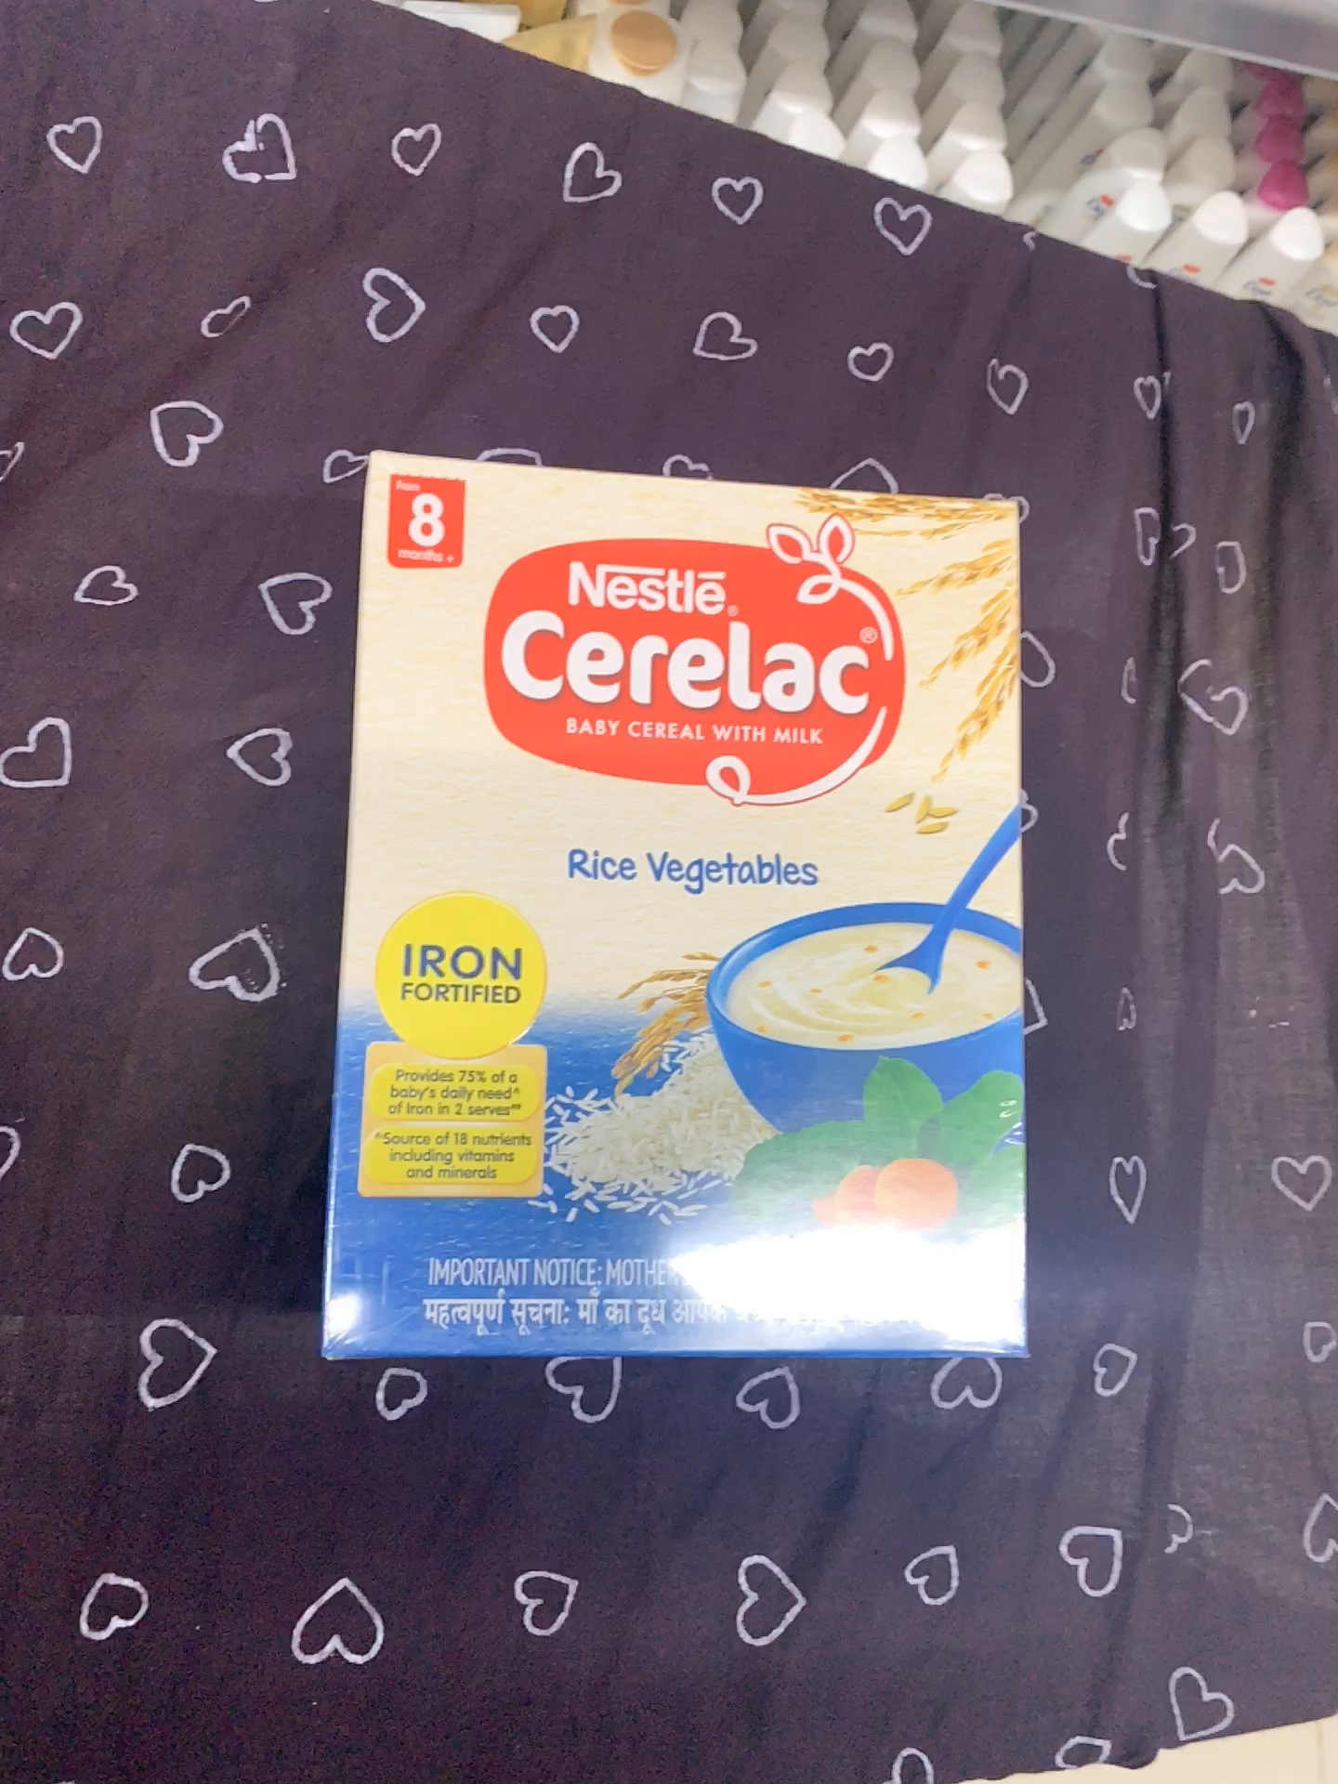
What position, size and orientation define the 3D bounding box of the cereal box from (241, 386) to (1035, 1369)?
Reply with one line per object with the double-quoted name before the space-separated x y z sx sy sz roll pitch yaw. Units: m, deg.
"cereal box" -0.003 -0.001 0.299 0.150 0.050 0.190 3 80 -8
